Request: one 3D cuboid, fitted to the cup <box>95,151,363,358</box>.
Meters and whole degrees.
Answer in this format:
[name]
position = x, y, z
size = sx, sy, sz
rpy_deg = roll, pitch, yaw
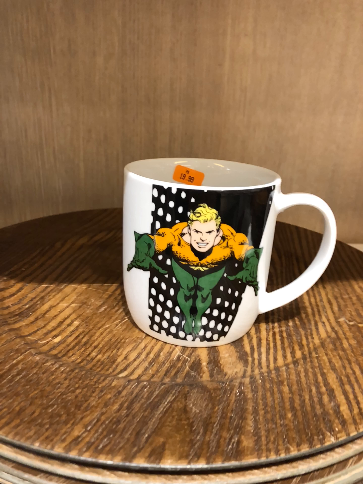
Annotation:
[cup]
position = 0.021, 0.000, 0.238
size = 0.120, 0.089, 0.091
rpy_deg = 2, 18, 1
